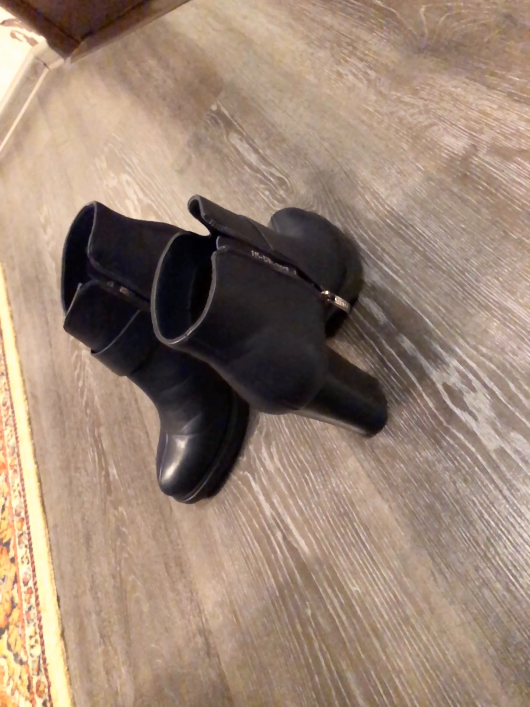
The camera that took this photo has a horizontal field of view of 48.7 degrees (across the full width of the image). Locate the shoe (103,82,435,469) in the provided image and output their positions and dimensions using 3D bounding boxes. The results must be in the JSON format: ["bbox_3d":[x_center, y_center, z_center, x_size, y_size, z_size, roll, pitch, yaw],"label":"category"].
[{"bbox_3d":[-0.004,-0.050,0.419,0.090,0.189,0.211,-39,47,29],"label":"shoe"}]

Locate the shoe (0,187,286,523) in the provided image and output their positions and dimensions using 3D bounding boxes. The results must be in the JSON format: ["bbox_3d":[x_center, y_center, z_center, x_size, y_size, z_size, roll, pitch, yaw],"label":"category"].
[{"bbox_3d":[-0.103,0.012,0.483,0.090,0.189,0.210,1,73,48],"label":"shoe"}]
